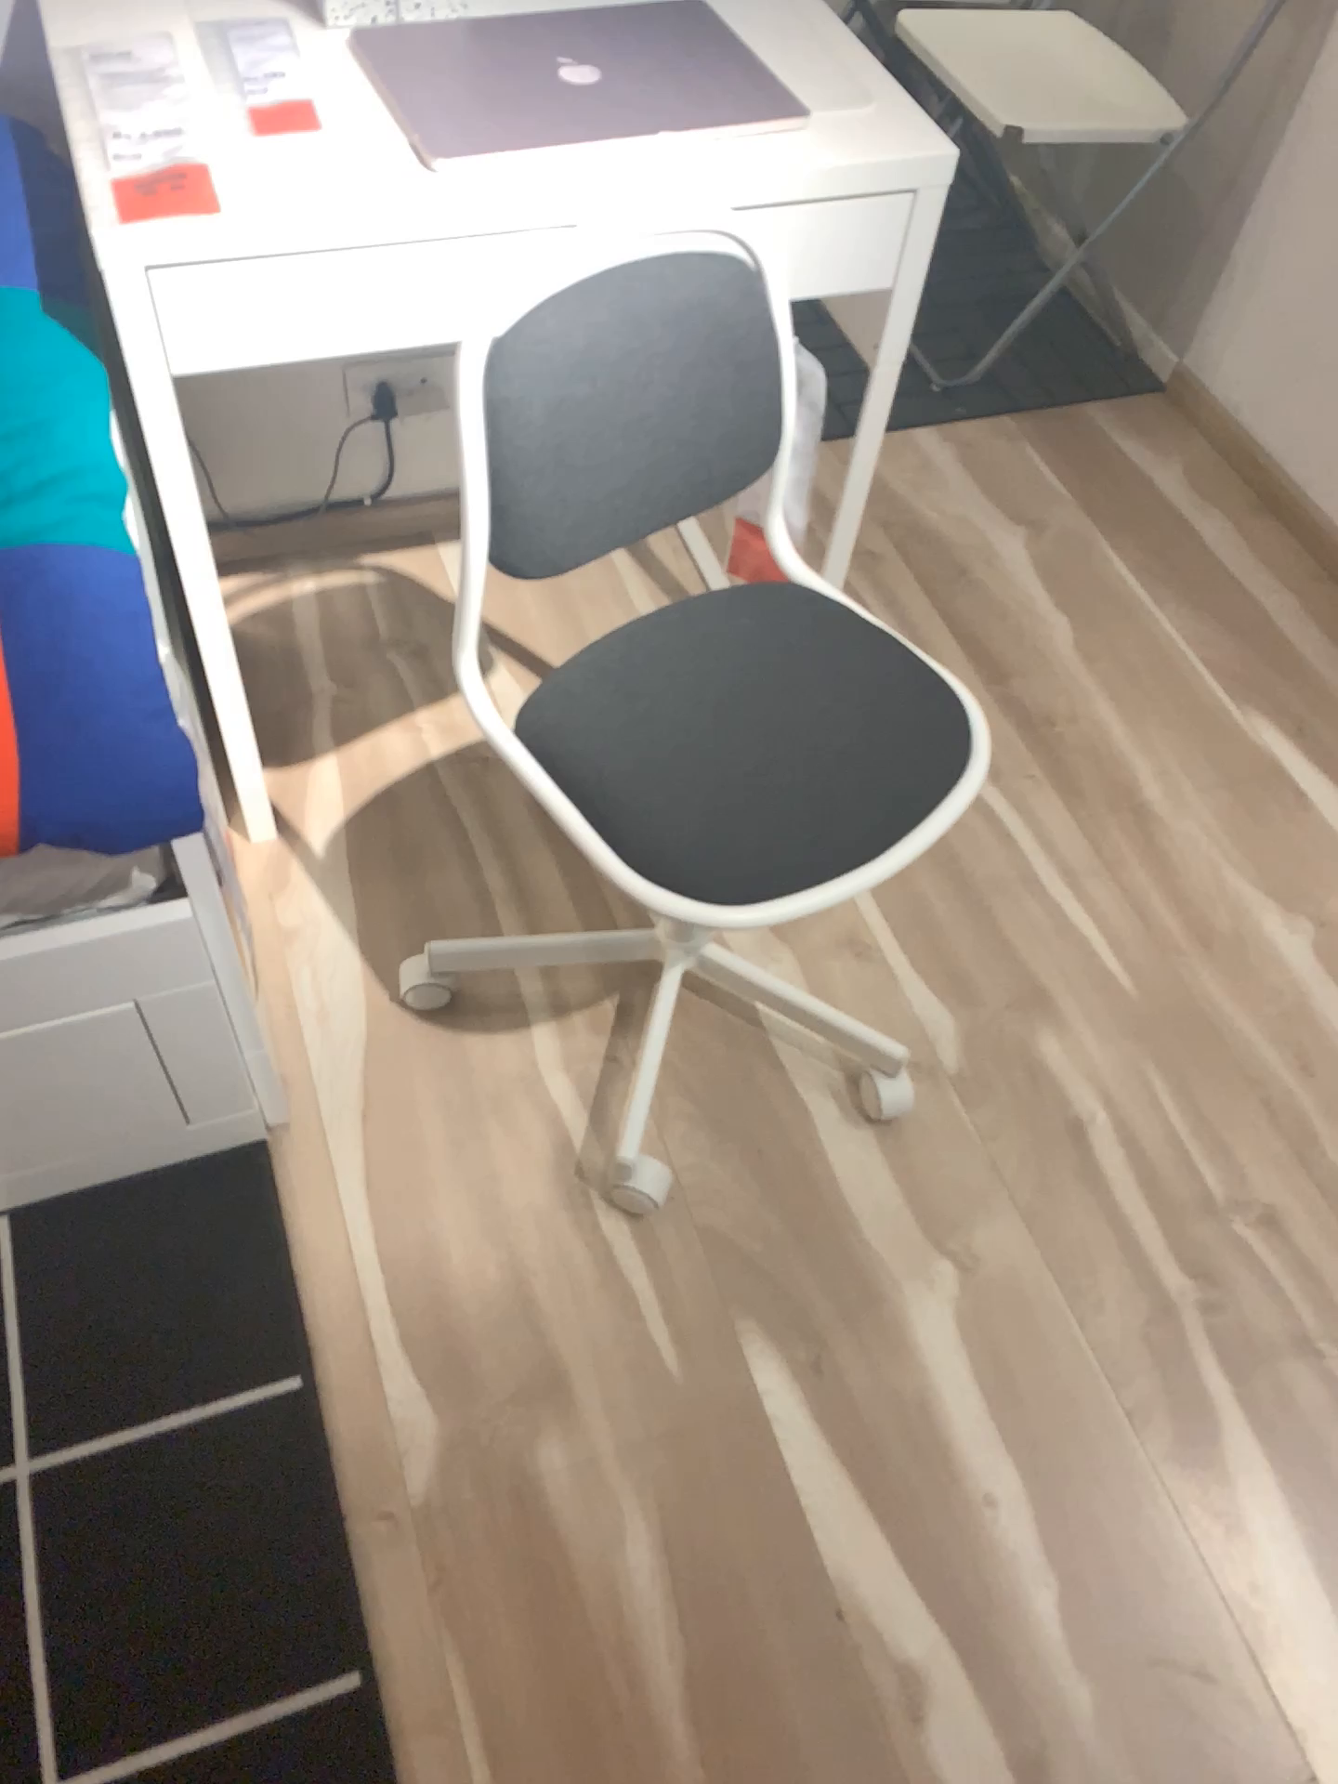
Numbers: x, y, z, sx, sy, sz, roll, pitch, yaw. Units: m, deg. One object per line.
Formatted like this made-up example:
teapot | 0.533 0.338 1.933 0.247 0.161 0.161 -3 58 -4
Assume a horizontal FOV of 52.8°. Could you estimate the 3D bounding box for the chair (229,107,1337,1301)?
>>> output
chair | 0.090 -0.153 1.169 0.571 0.628 0.591 -33 63 -23
